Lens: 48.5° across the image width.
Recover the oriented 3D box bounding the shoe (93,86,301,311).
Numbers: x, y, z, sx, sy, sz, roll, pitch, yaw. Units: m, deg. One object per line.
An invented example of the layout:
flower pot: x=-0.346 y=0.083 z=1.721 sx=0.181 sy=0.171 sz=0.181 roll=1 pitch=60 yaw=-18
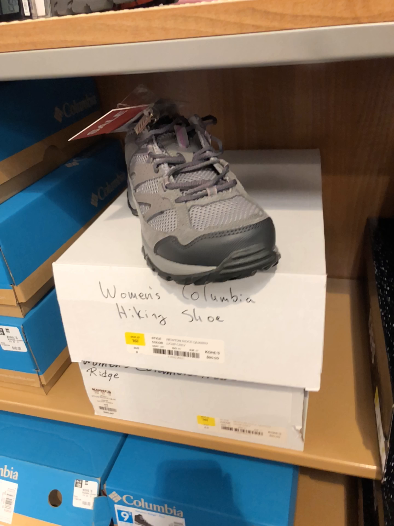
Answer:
shoe: x=-0.018 y=-0.086 z=0.421 sx=0.104 sy=0.114 sz=0.268 roll=-14 pitch=31 yaw=-14
